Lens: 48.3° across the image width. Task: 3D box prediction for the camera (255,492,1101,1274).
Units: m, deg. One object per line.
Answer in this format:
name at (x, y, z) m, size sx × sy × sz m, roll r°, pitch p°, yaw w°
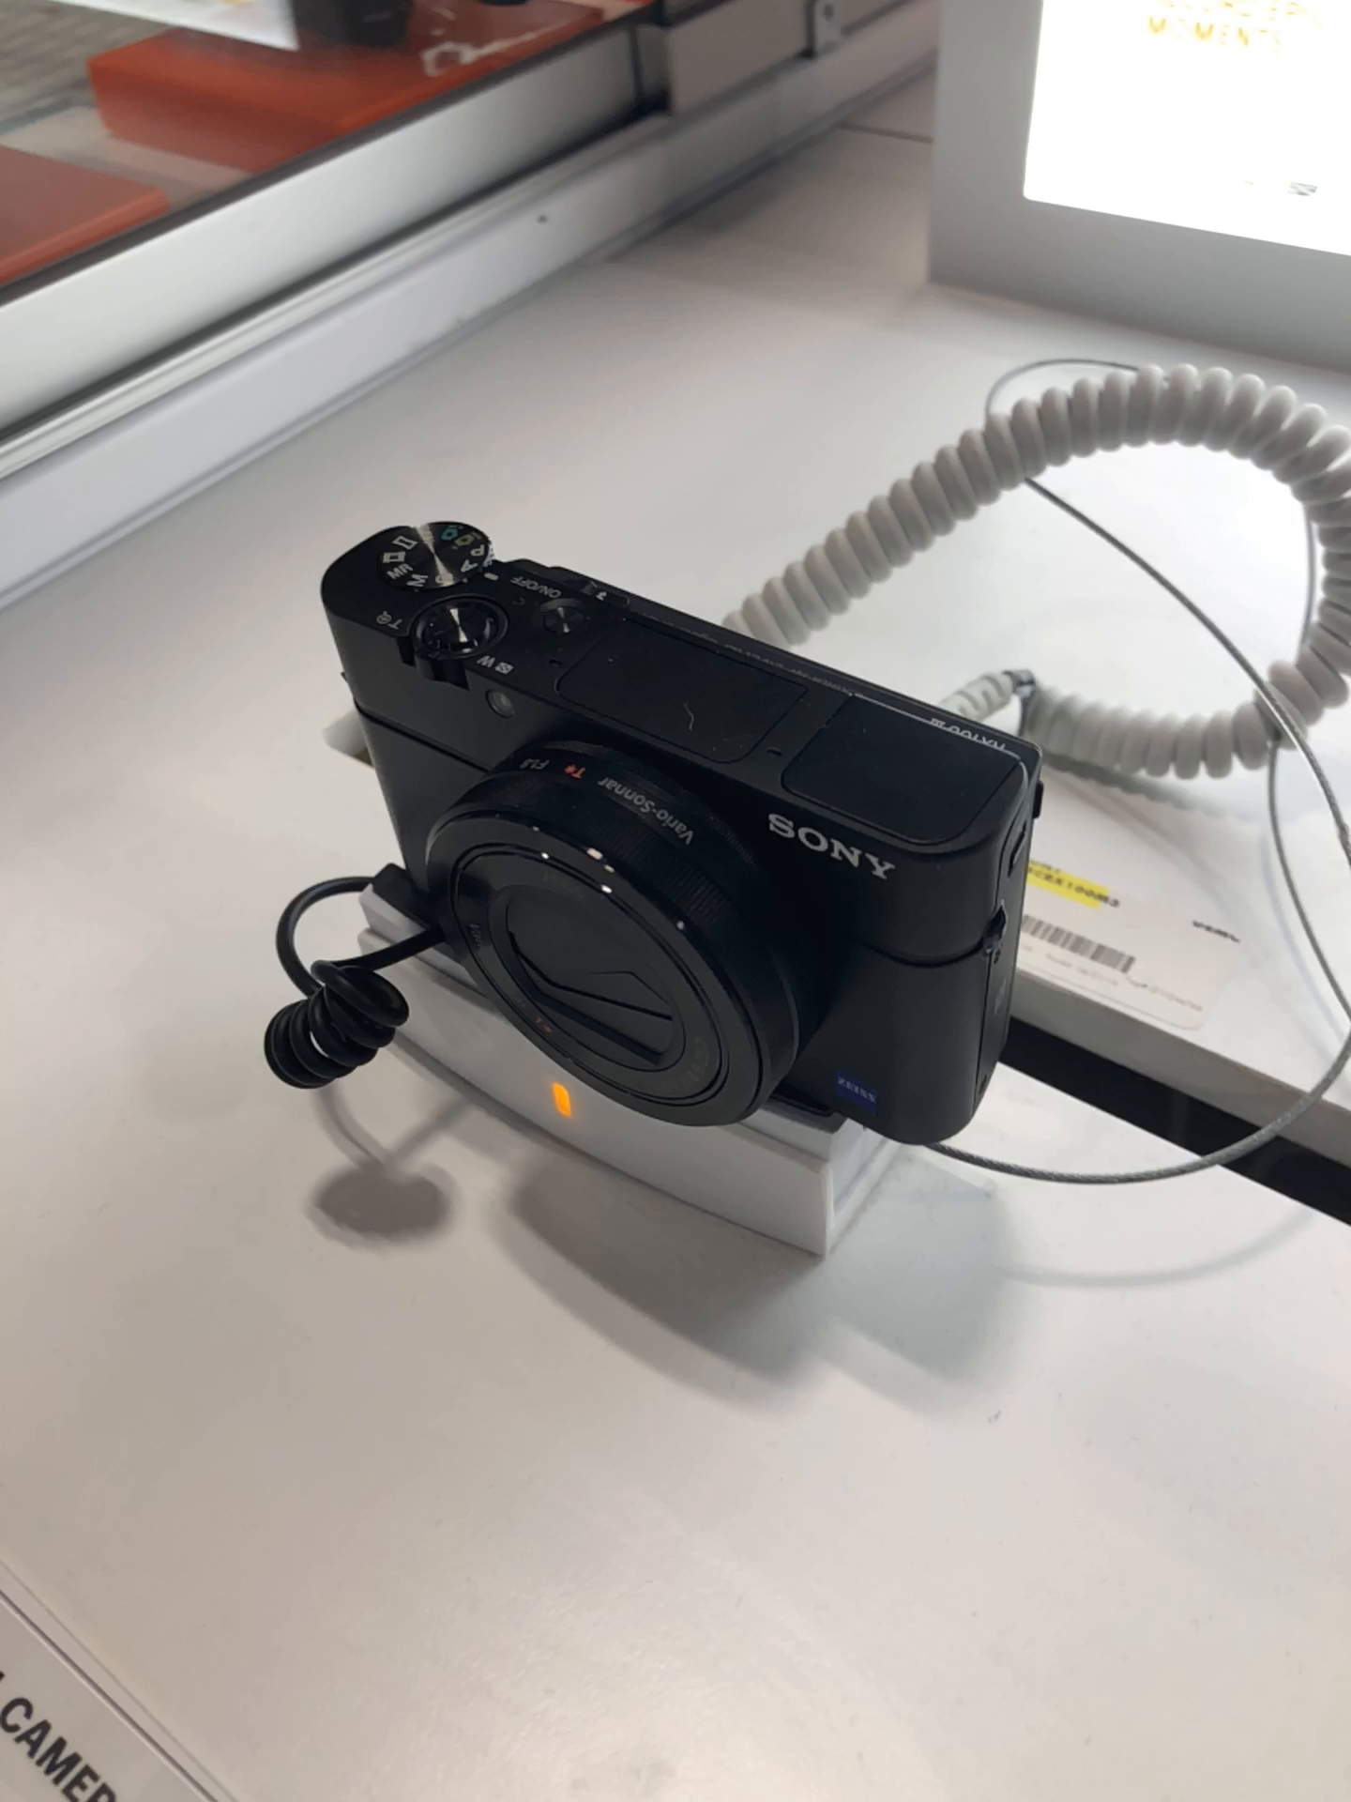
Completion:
camera at (-0.003, -0.005, 0.212) m, size 0.110 × 0.070 × 0.030 m, roll 26°, pitch 52°, yaw 28°
